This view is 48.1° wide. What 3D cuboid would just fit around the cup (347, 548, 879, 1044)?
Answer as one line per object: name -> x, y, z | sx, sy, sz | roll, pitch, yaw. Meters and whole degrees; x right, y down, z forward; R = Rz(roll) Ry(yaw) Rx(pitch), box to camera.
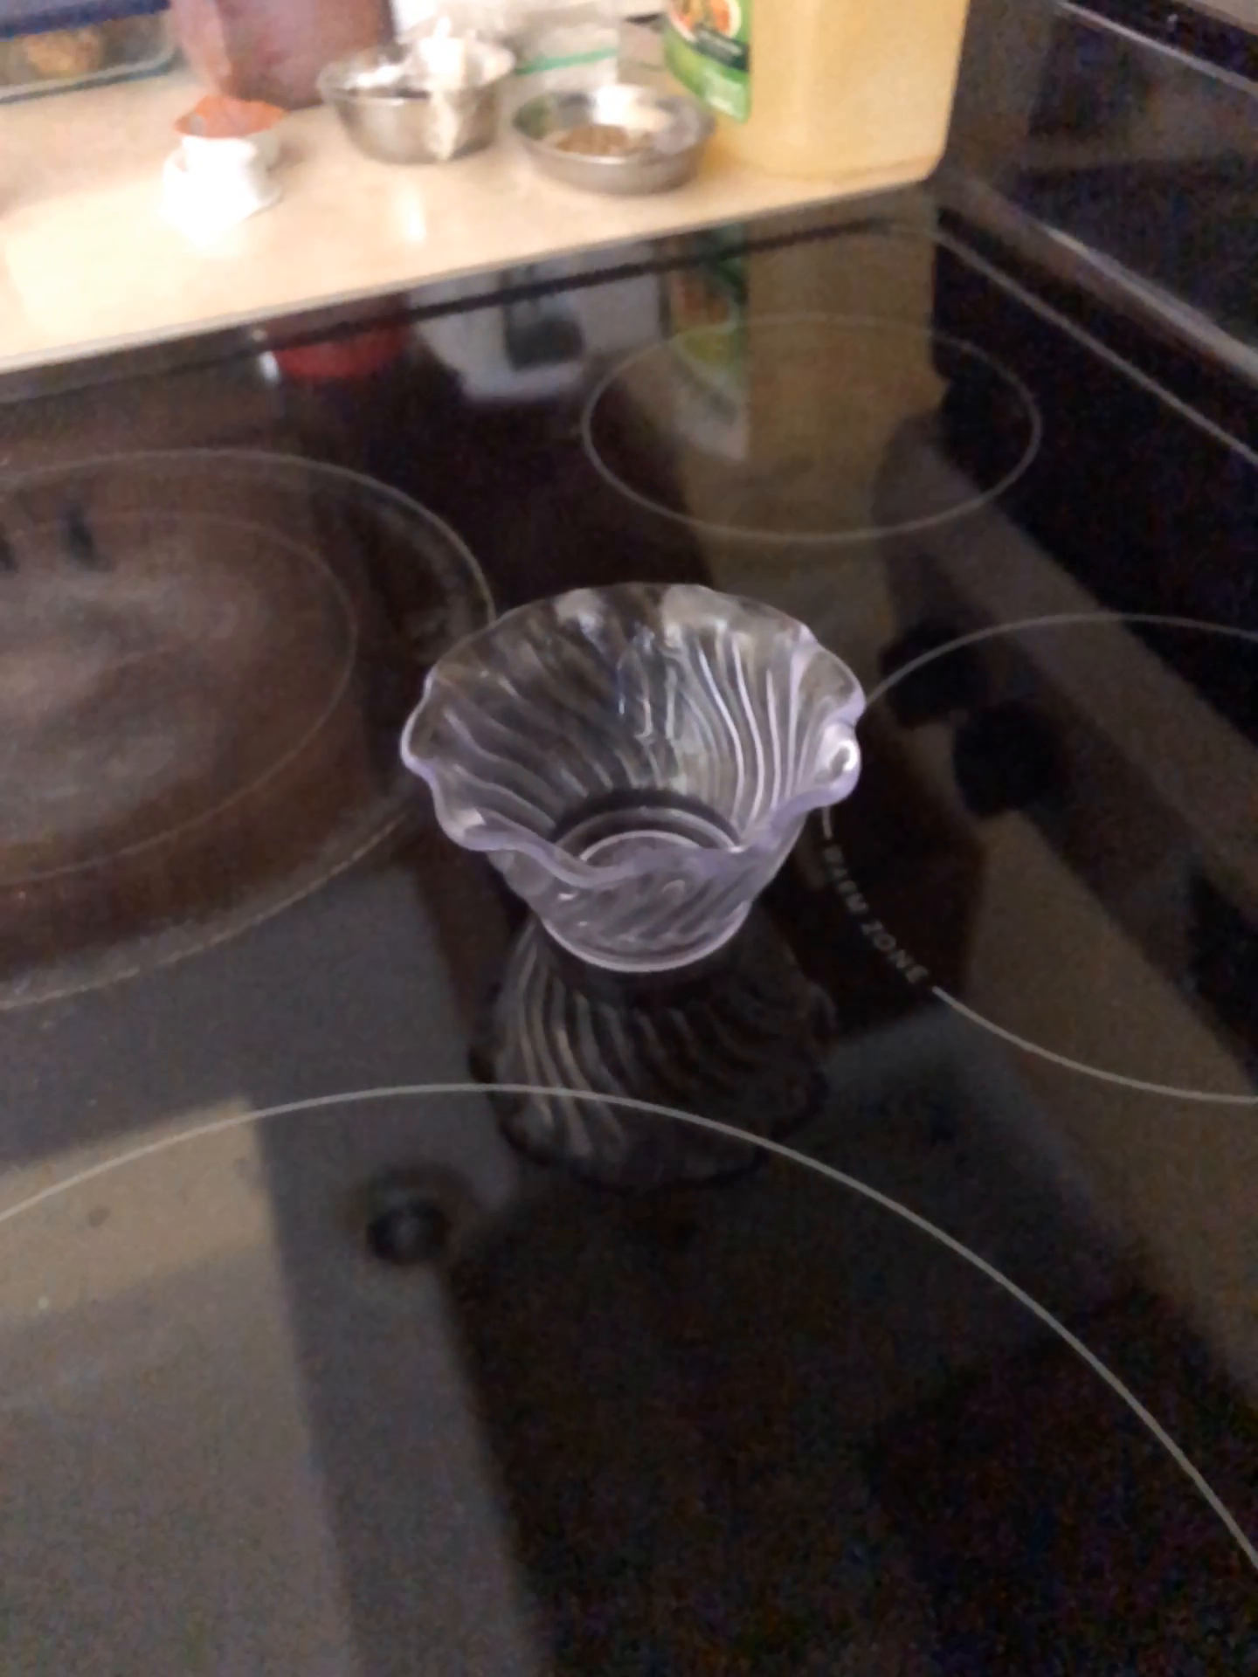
cup -> 0.003, -0.013, 0.296 | 0.090, 0.049, 0.091 | -2, 44, 2
